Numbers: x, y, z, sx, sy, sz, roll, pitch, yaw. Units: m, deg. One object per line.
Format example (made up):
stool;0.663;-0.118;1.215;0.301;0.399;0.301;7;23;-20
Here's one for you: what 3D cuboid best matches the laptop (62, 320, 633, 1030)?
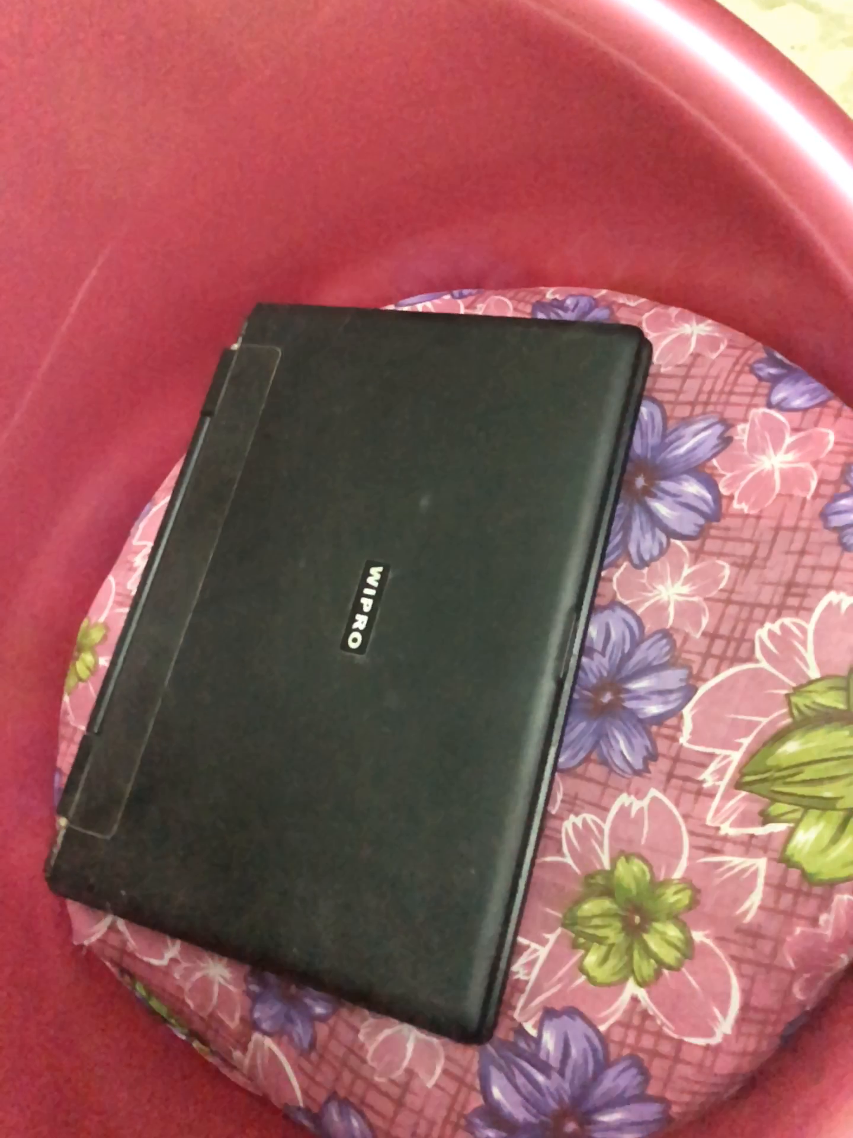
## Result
laptop;-0.040;0.022;0.470;0.220;0.006;0.322;9;74;24
